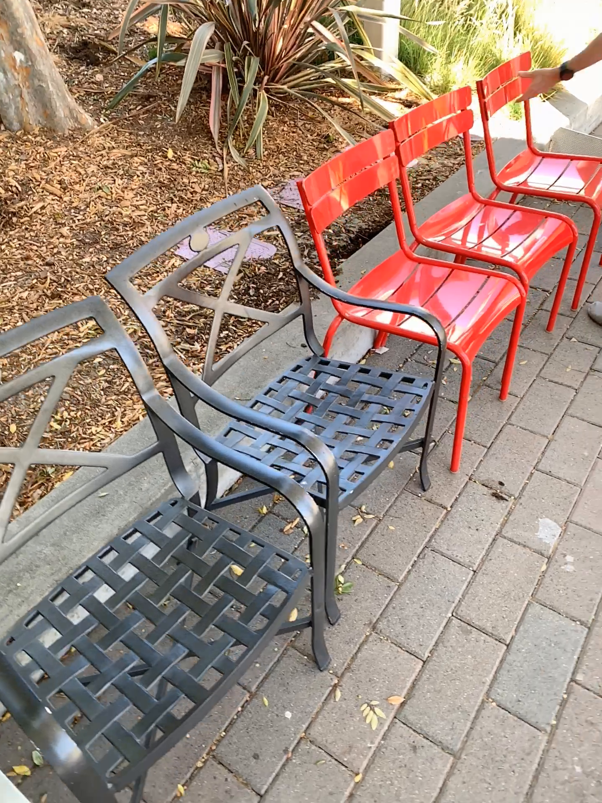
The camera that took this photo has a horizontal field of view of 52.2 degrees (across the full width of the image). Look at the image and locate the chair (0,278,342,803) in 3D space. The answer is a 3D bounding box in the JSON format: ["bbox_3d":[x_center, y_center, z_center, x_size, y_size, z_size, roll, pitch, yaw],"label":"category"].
[{"bbox_3d":[-0.381,0.344,1.208,0.693,0.815,0.622,23,48,28],"label":"chair"}]

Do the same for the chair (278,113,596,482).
[{"bbox_3d":[0.398,-0.349,1.939,0.642,0.815,0.622,23,48,28],"label":"chair"}]

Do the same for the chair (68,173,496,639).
[{"bbox_3d":[-0.014,-0.019,1.592,0.693,0.815,0.622,23,48,28],"label":"chair"}]
